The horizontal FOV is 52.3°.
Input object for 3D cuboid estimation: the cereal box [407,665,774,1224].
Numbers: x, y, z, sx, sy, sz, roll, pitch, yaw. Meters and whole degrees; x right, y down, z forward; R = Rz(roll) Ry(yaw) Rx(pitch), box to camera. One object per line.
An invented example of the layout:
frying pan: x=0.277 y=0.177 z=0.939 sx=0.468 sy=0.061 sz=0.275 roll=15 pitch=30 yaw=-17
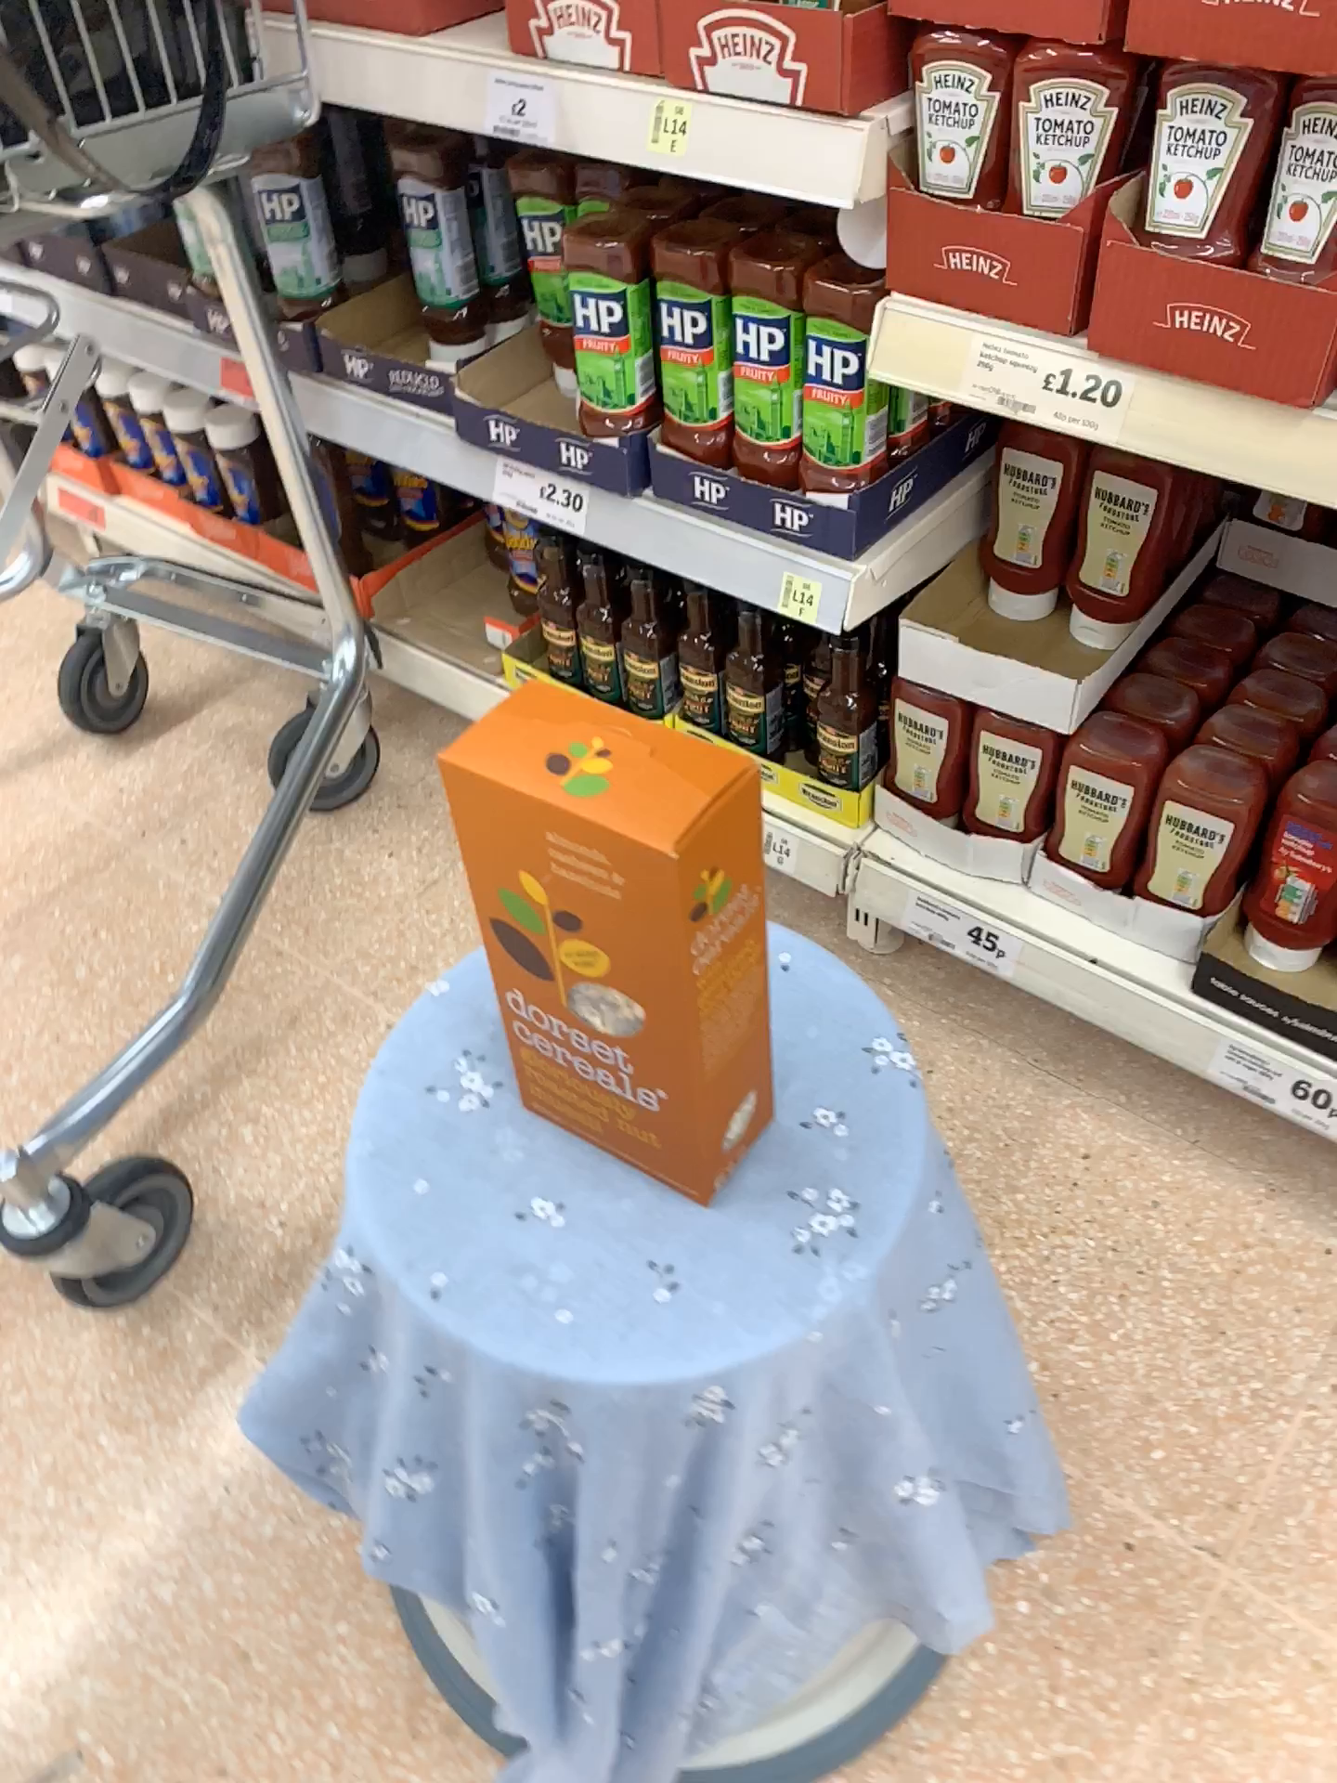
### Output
cereal box: x=-0.024 y=0.030 z=0.596 sx=0.120 sy=0.228 sz=0.070 roll=23 pitch=51 yaw=26
